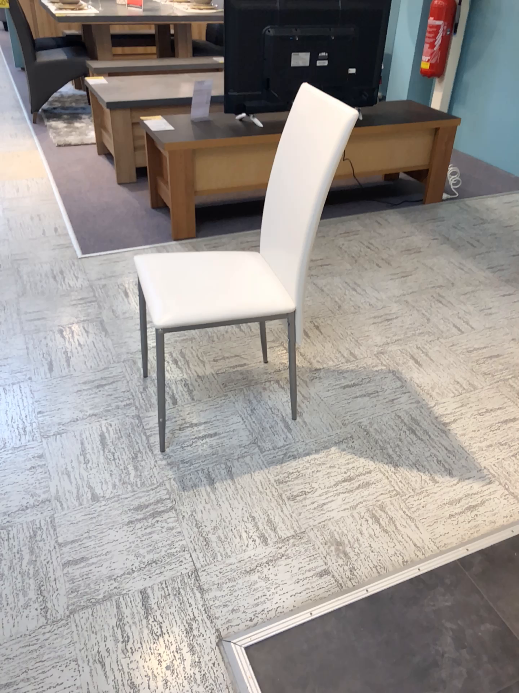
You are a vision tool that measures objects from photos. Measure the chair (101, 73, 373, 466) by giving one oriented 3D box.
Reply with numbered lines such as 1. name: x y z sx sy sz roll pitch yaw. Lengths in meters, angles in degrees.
1. chair: -0.097 -0.215 1.614 0.551 0.944 0.472 -7 35 -14
